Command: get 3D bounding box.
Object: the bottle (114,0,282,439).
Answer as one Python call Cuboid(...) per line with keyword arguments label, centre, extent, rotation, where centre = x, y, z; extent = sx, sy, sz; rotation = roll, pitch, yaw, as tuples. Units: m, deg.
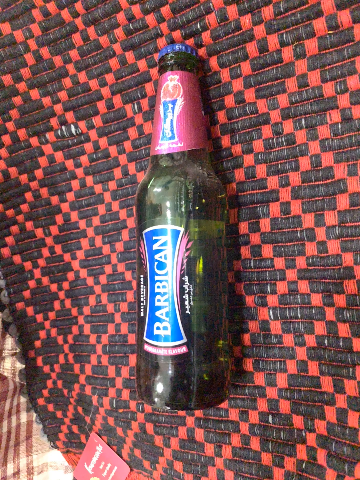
Cuboid(label="bottle", centre=(0.019, -0.016, 0.246), extent=(0.070, 0.080, 0.240), rotation=(-5, 76, 30))
